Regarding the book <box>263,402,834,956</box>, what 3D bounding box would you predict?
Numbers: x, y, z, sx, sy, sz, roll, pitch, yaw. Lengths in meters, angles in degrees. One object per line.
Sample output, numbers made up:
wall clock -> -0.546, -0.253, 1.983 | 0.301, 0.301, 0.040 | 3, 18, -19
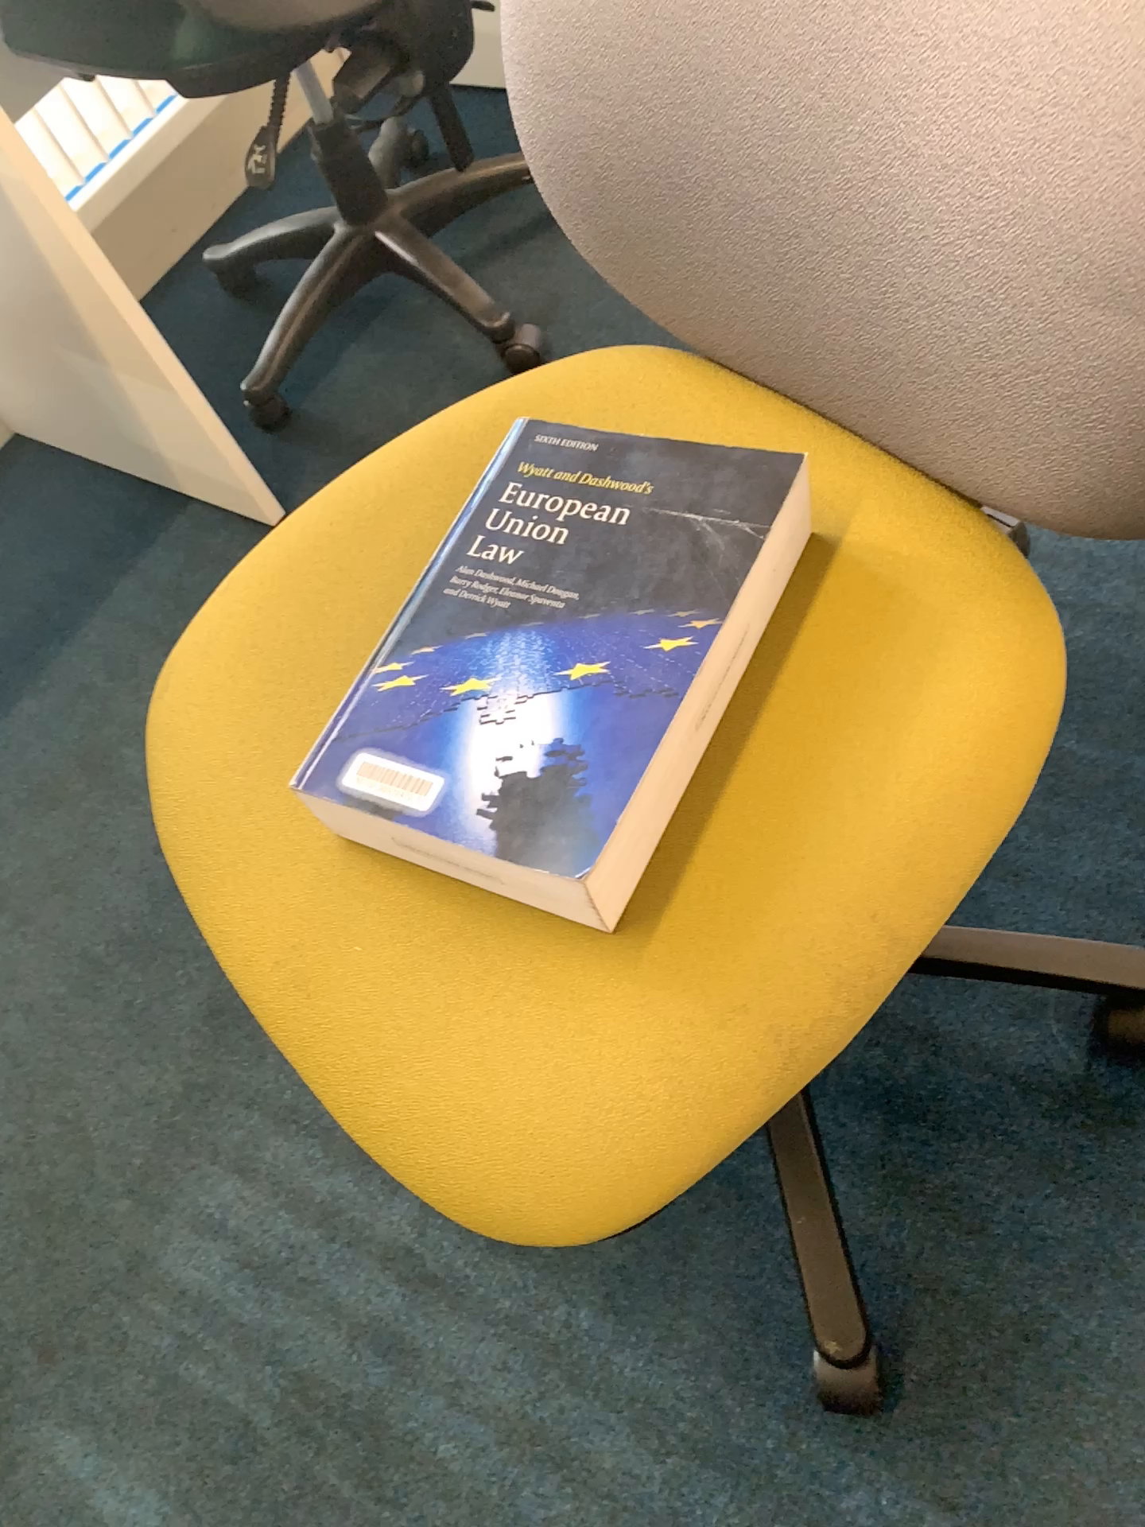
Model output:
book -> -0.005, -0.057, 0.579 | 0.181, 0.060, 0.251 | 17, 66, 27
